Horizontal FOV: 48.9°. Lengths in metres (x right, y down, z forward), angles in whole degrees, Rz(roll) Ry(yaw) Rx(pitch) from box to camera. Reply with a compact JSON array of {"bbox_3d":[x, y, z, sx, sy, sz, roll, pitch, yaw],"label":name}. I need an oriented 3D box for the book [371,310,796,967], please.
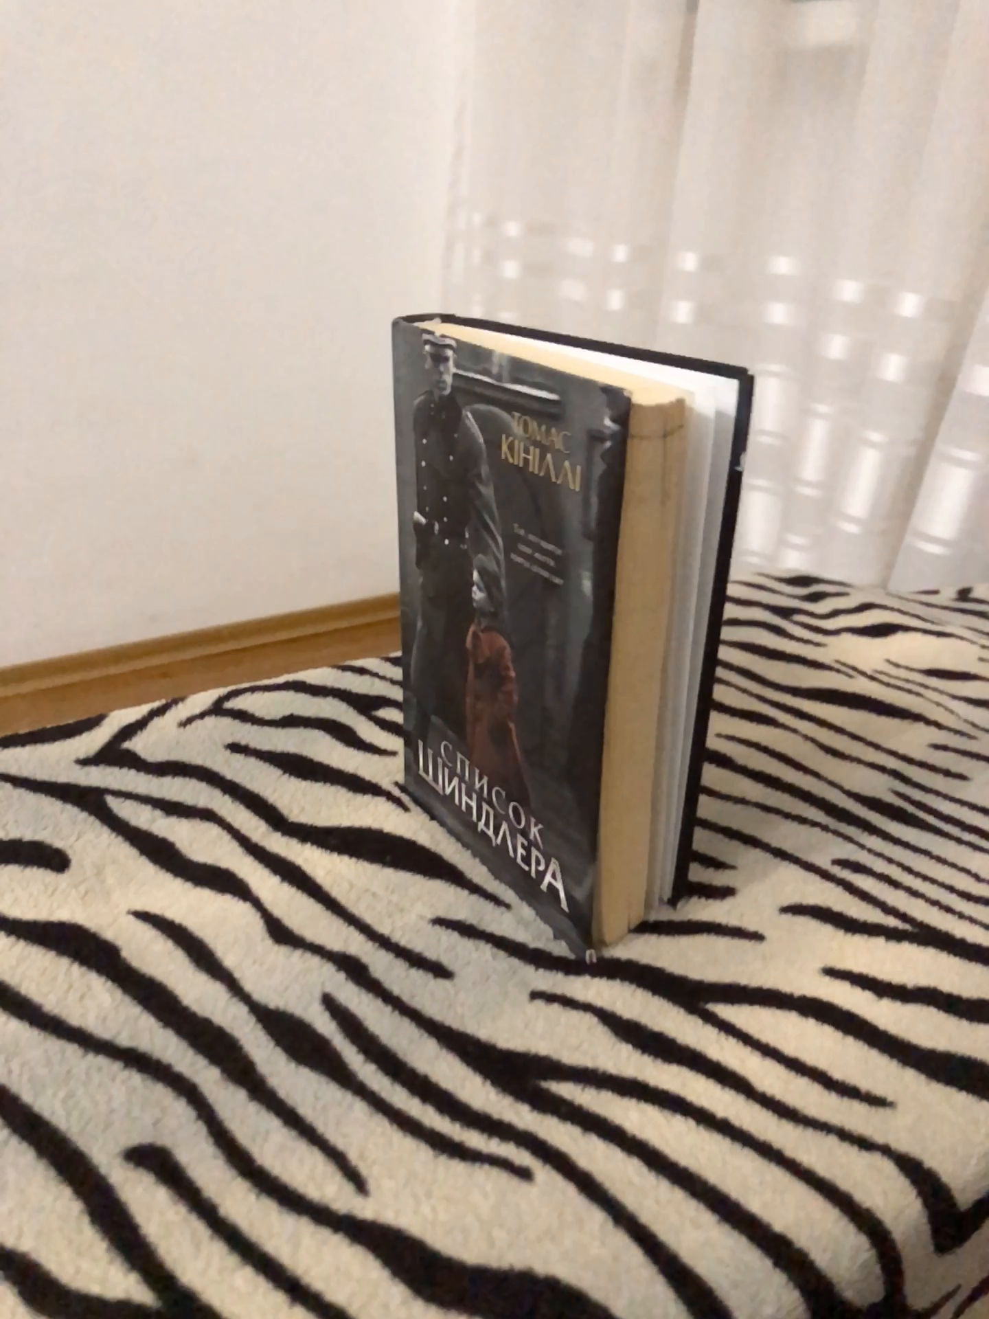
[{"bbox_3d":[0.019,-0.015,0.395,0.057,0.191,0.144,-17,32,-34],"label":"book"}]
